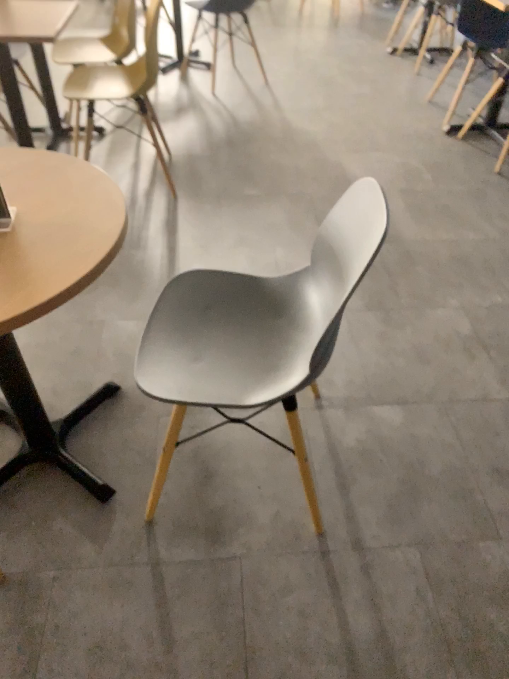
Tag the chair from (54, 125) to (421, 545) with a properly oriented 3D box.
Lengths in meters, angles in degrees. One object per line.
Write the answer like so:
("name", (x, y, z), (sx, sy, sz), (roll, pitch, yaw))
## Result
("chair", (-0.019, 0.023, 1.200), (0.520, 0.802, 0.510), (3, 44, 2))
